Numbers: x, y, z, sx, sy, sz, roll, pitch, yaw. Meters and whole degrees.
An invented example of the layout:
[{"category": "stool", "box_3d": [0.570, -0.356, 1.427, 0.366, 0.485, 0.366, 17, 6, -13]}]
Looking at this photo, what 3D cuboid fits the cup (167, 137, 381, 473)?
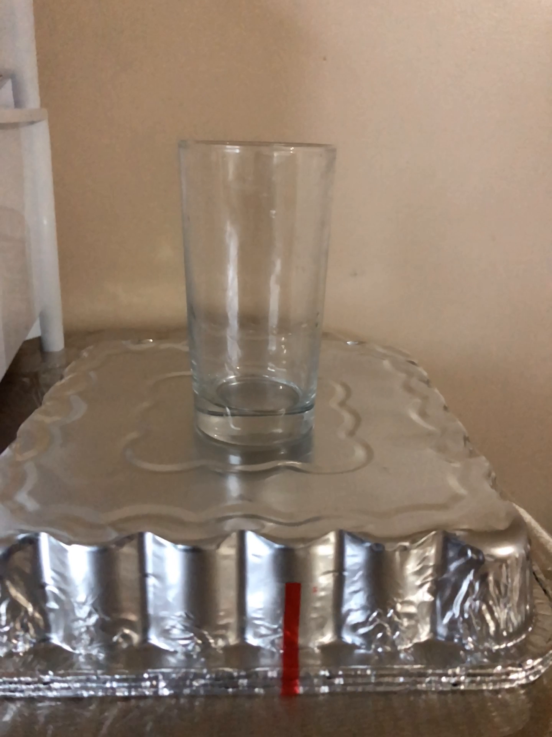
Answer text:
[{"category": "cup", "box_3d": [-0.006, -0.030, 0.255, 0.060, 0.119, 0.060, 3, 21, -1]}]
